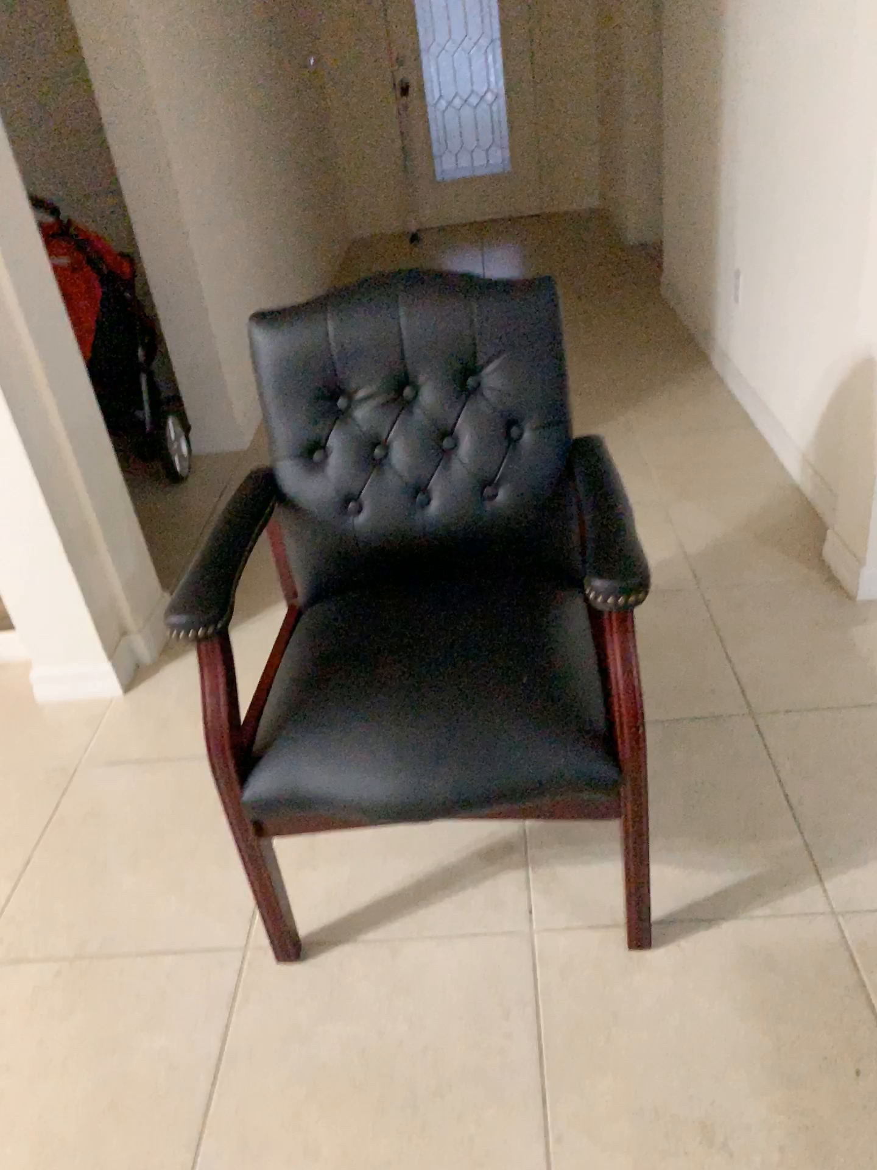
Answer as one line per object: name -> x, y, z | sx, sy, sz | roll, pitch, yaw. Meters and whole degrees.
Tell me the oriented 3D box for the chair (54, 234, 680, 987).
chair -> -0.015, 0.030, 1.401 | 0.631, 0.908, 0.660 | -5, 31, 5
